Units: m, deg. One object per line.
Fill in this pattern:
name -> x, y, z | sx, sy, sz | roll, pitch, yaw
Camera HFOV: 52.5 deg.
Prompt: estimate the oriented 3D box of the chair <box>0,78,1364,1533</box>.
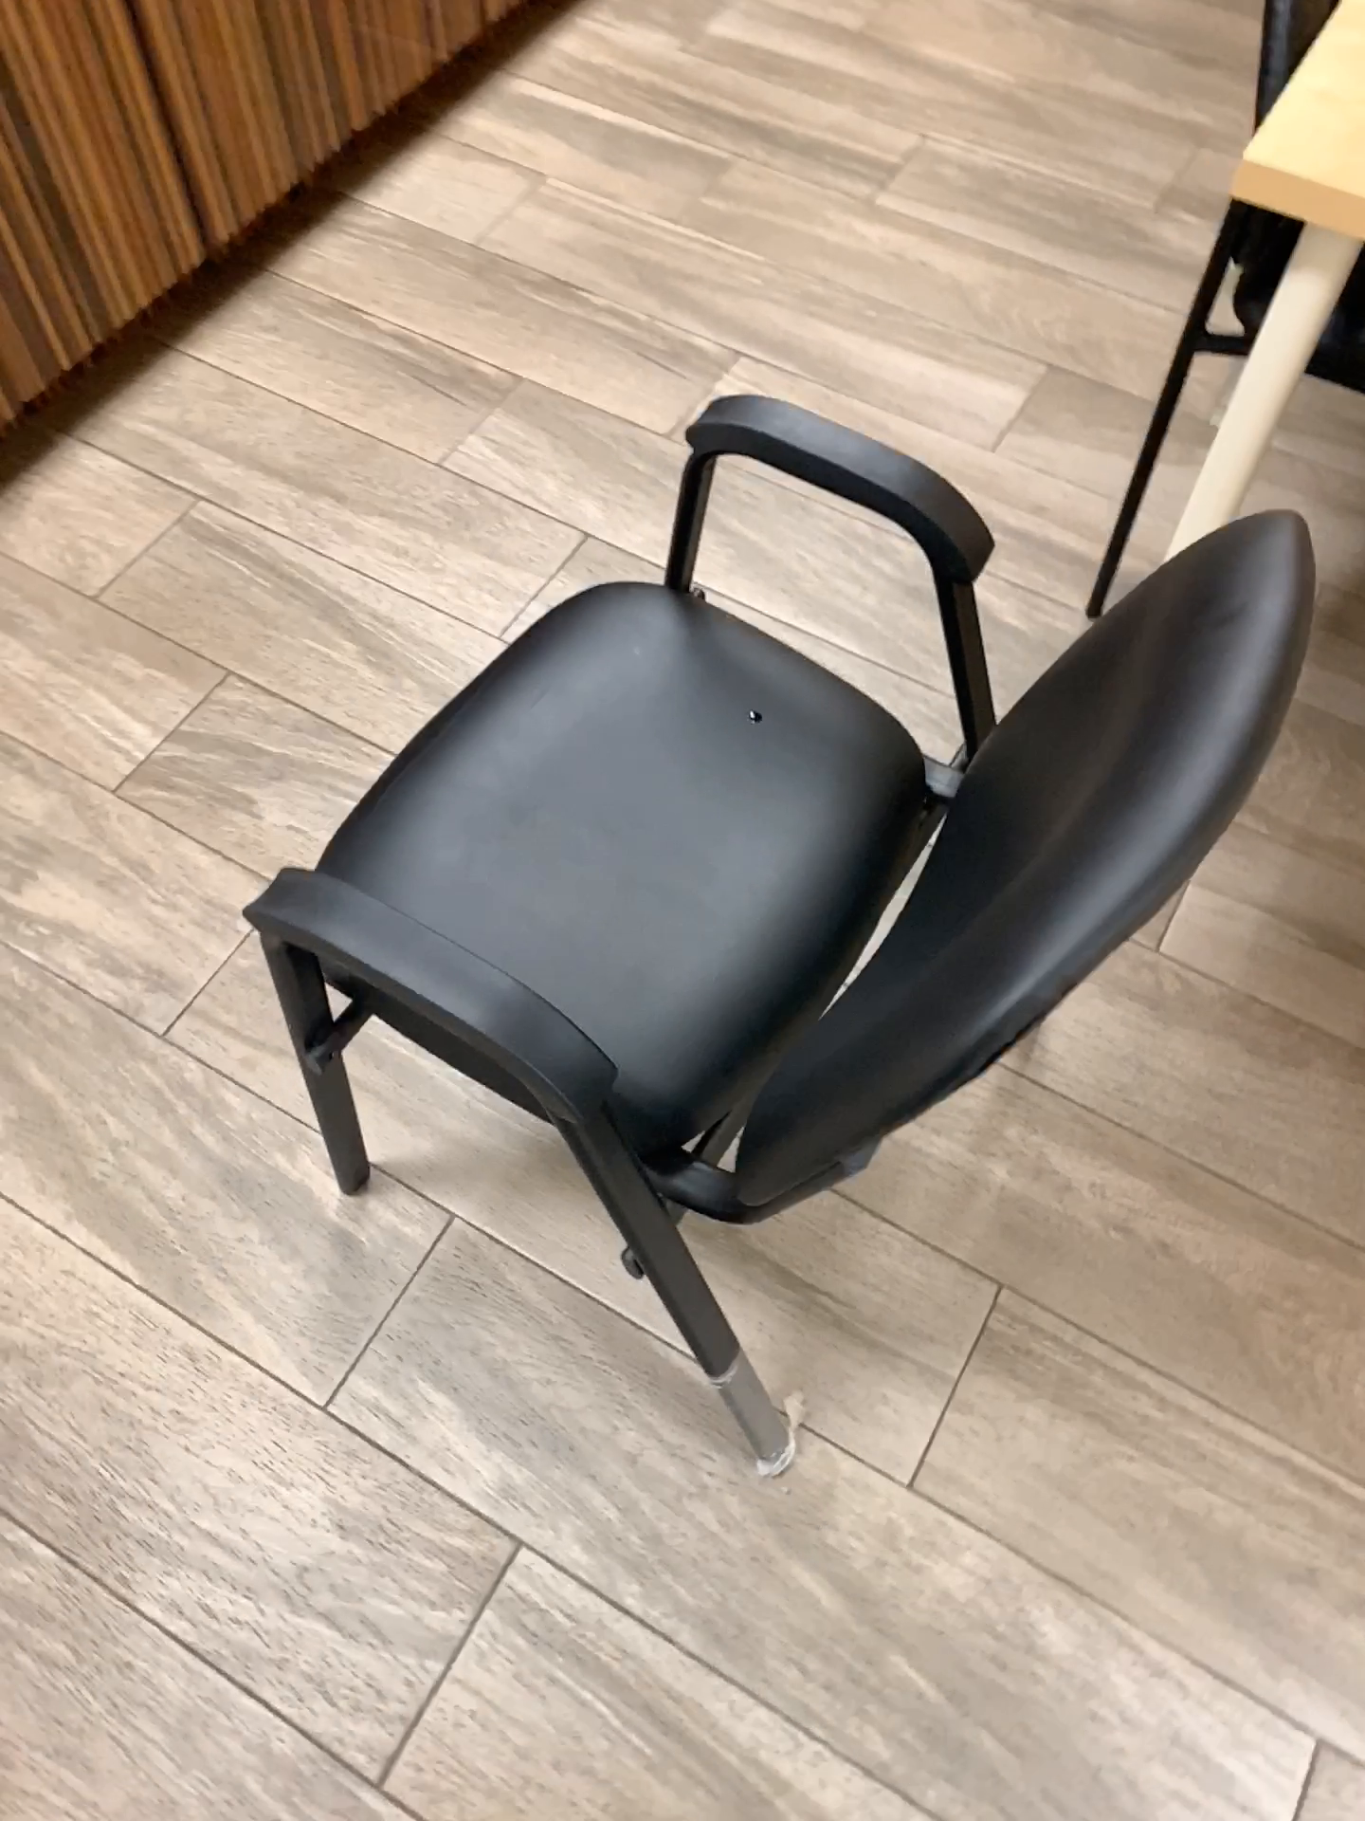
chair -> 0.034, -0.014, 1.096 | 0.624, 0.797, 0.607 | 28, 63, 15
